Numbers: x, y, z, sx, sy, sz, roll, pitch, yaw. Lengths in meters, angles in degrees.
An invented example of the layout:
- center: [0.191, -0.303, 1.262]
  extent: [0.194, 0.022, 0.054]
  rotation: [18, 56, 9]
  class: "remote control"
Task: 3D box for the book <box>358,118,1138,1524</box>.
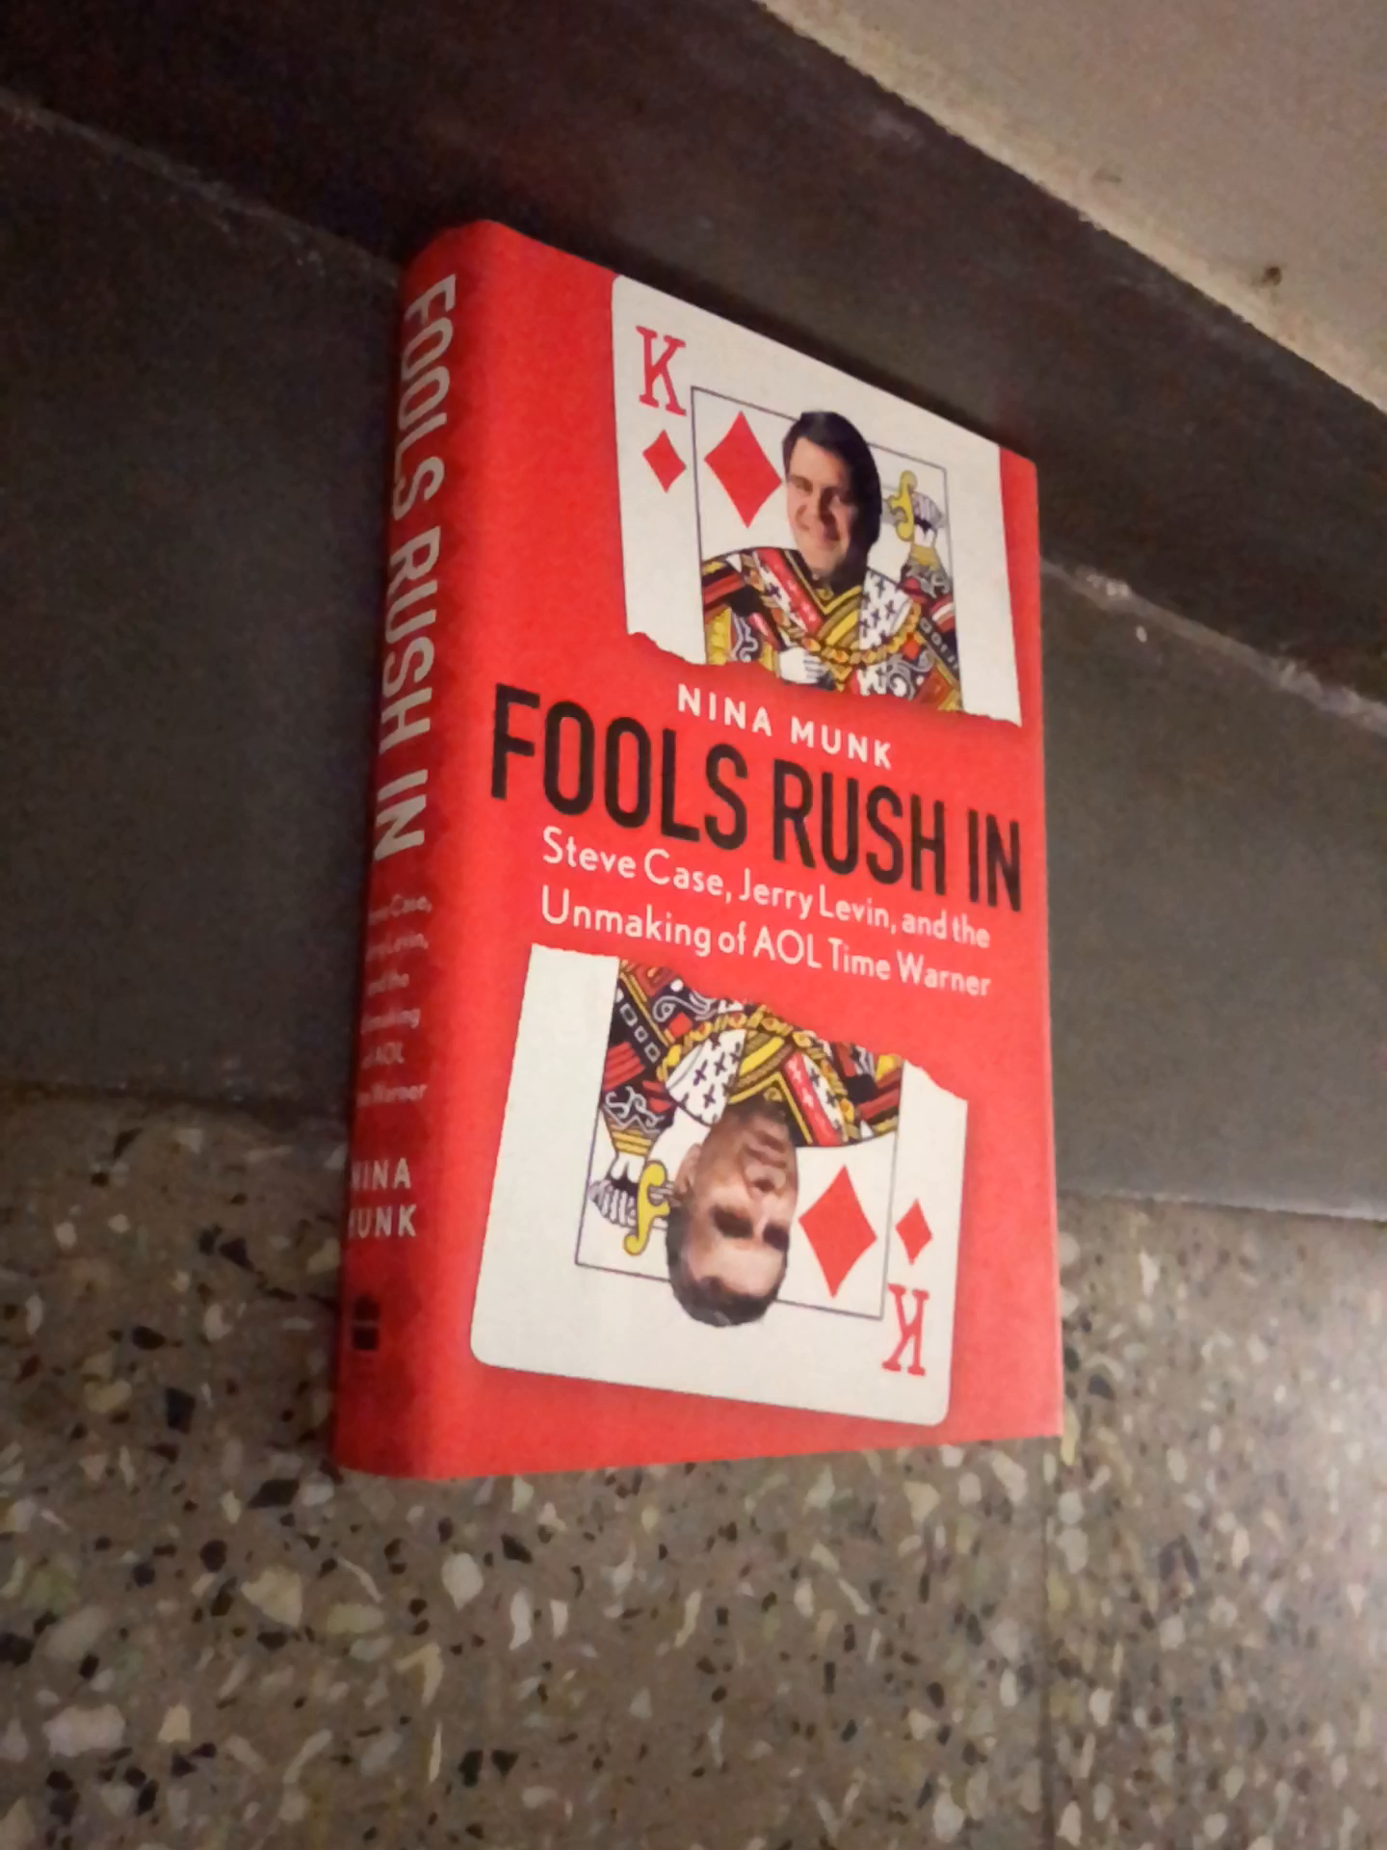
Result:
- center: [0.020, -0.019, 0.349]
  extent: [0.181, 0.030, 0.270]
  rotation: [9, 74, -36]
  class: "book"
